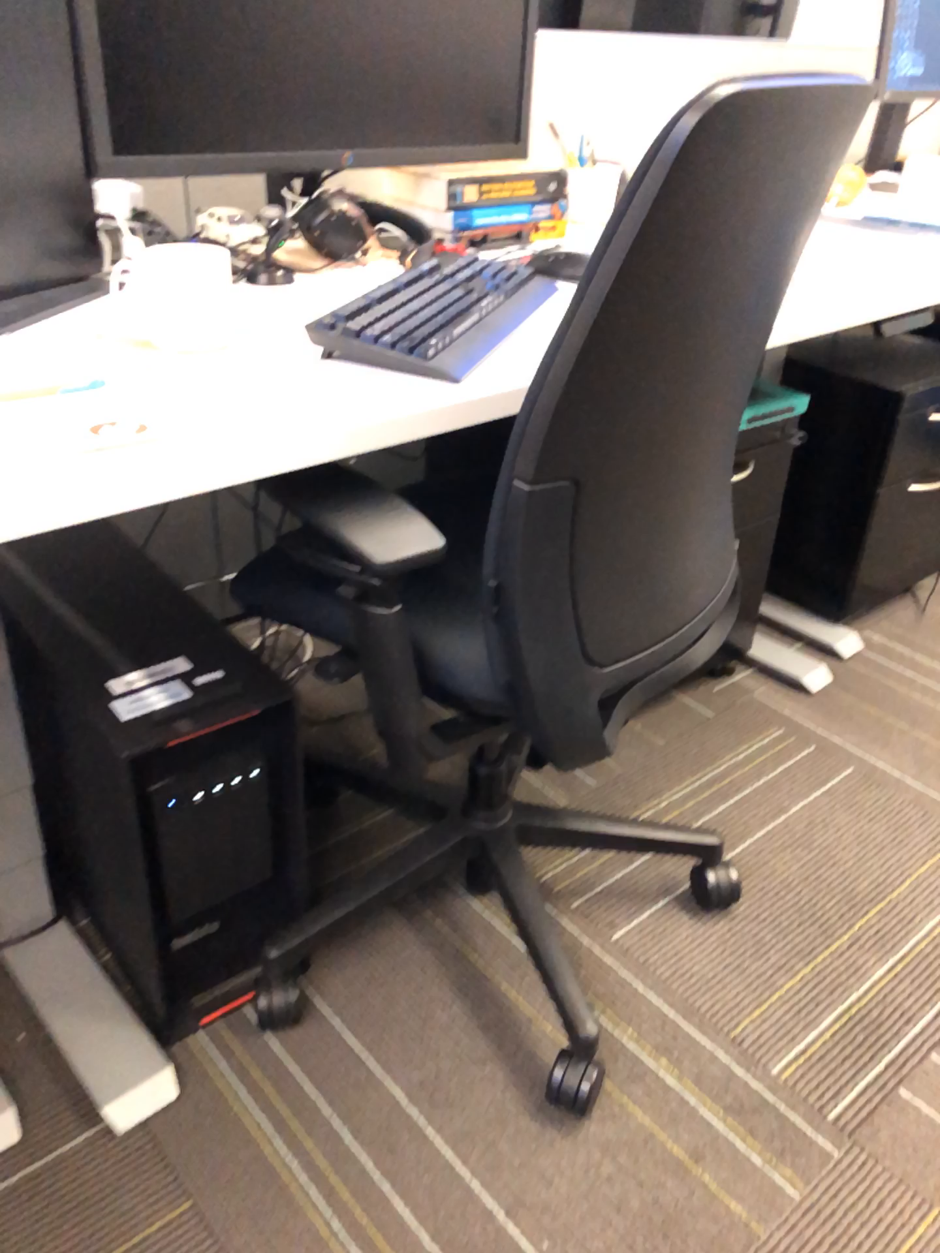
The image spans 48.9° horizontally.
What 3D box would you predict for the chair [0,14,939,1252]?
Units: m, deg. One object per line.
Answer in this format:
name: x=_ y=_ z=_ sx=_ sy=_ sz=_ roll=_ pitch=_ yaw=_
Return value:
chair: x=0.033 y=-0.073 z=1.195 sx=0.721 sy=1.044 sz=0.713 roll=24 pitch=36 yaw=32
